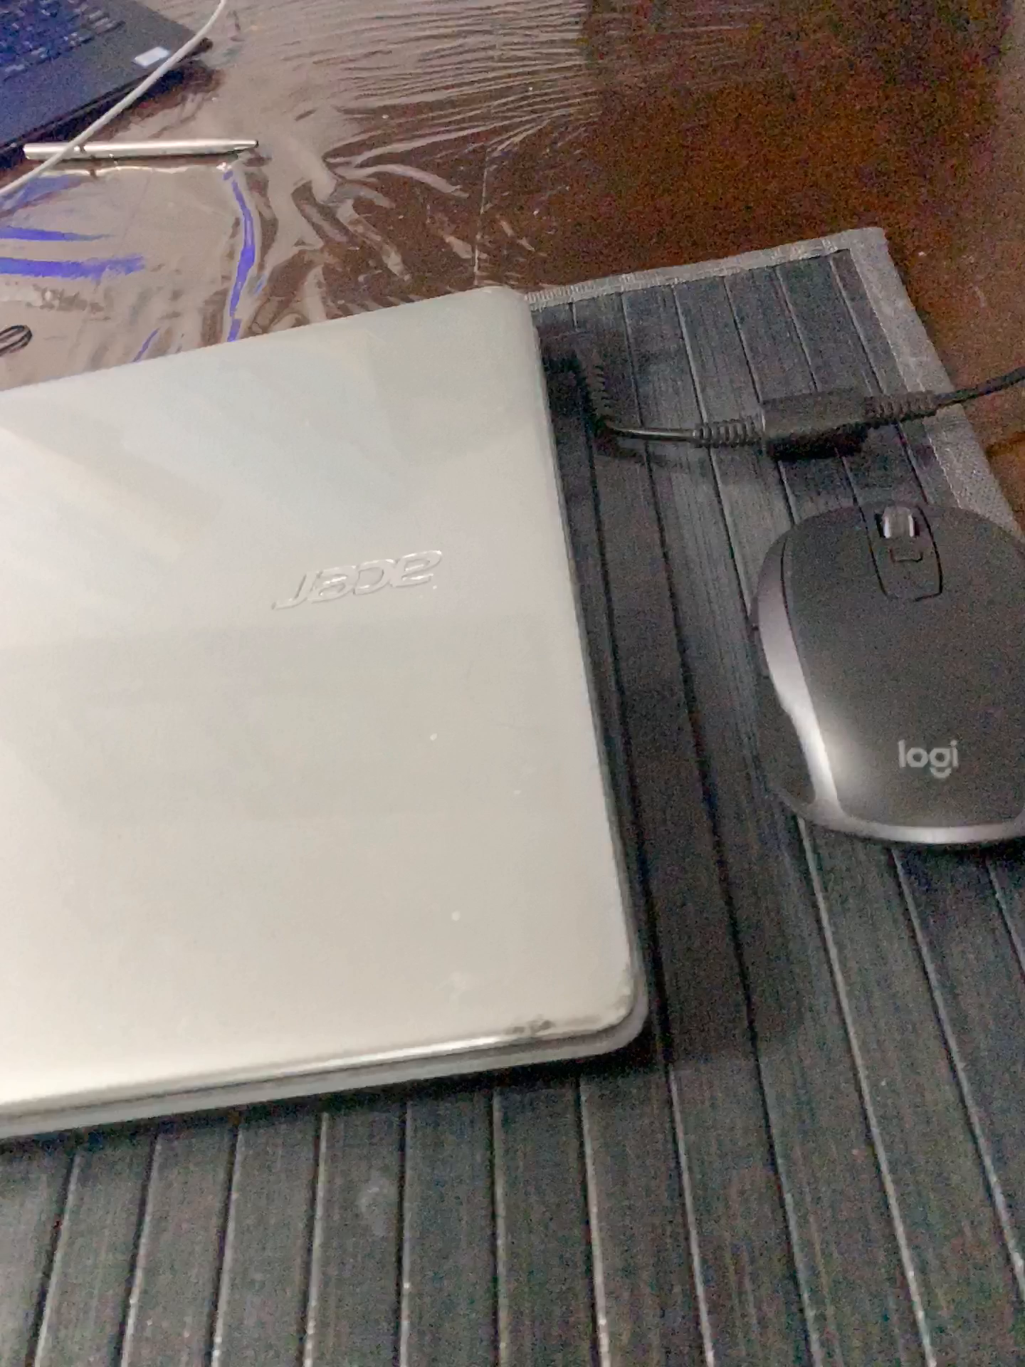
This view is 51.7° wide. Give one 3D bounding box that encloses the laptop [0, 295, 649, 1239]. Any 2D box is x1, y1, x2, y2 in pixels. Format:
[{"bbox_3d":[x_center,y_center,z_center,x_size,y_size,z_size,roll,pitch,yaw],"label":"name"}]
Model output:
[{"bbox_3d":[-0.151,-0.003,0.268,0.335,0.002,0.224,-9,52,4],"label":"laptop"}]
